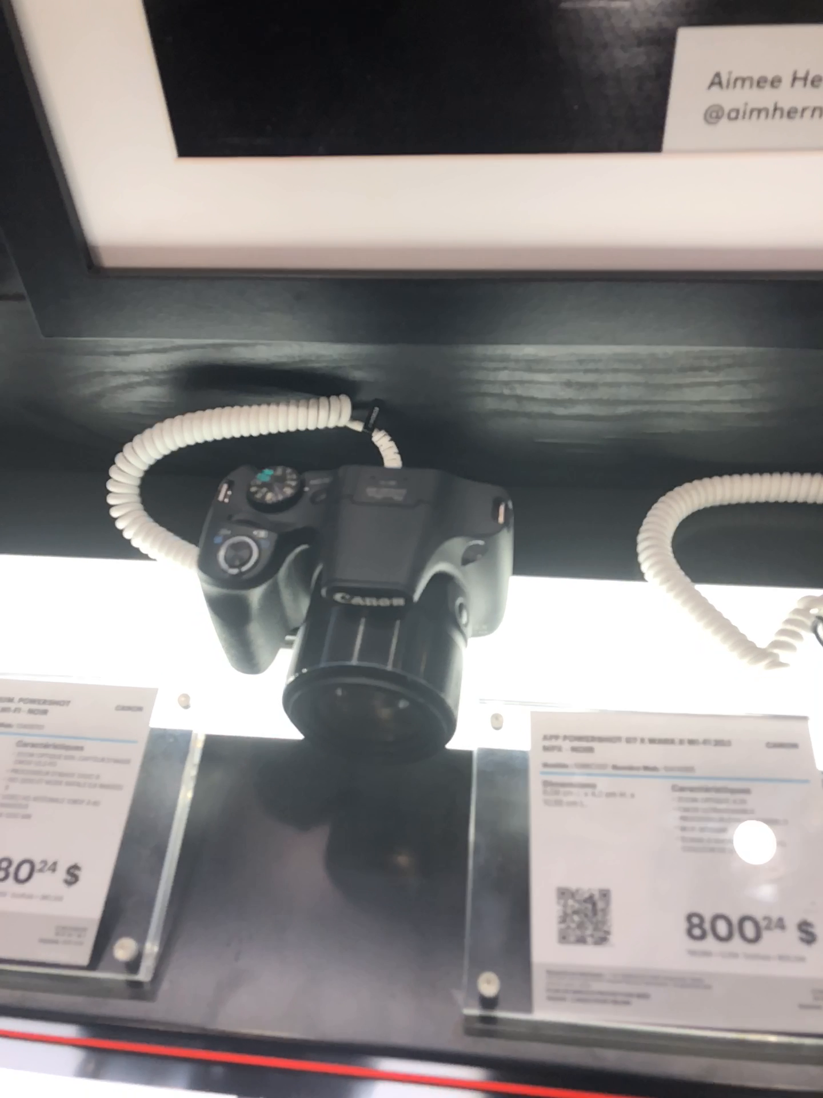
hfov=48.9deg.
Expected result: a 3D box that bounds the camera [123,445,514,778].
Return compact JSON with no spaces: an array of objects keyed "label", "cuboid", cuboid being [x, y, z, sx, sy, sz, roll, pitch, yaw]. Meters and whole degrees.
[{"label":"camera","cuboid":[-0.025,0.024,0.341,0.122,0.099,0.071,2,43,6]}]
